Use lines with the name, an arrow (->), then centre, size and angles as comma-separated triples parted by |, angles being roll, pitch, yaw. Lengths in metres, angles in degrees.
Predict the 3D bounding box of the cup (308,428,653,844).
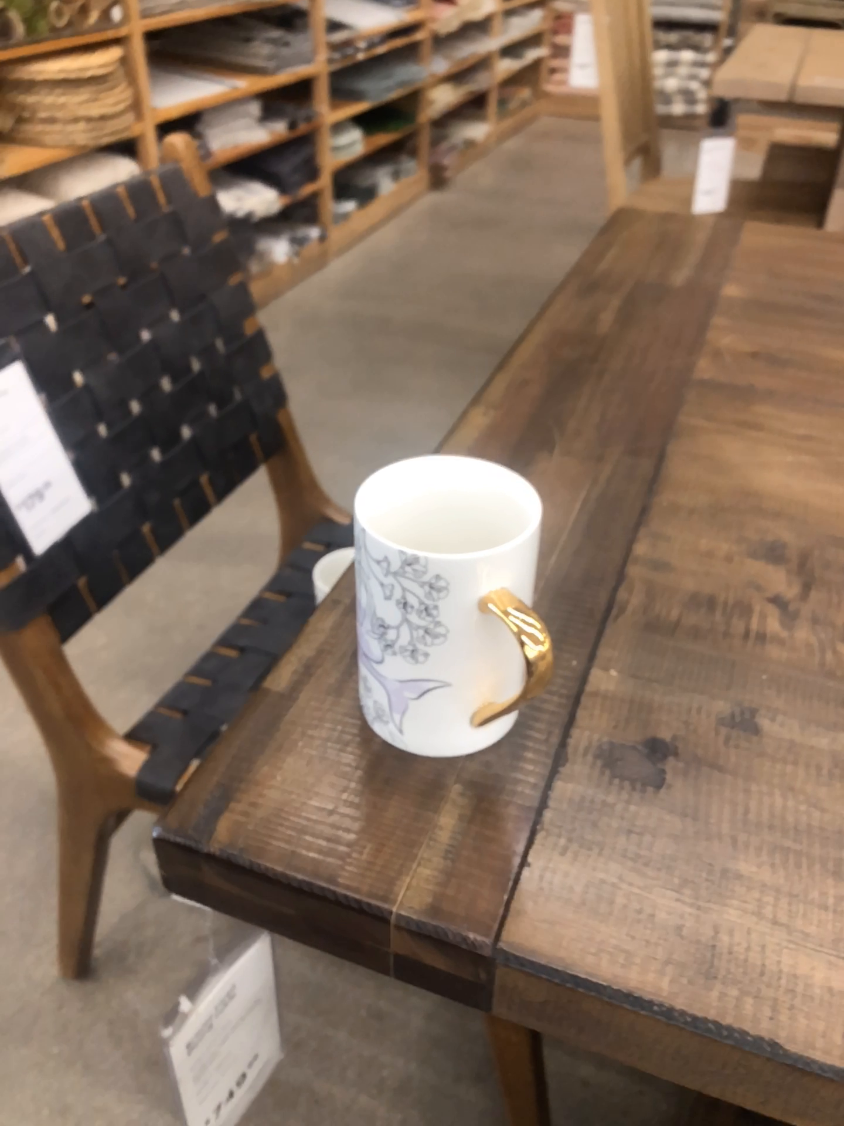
cup -> 0.018, 0.026, 0.409 | 0.082, 0.111, 0.122 | -20, 41, -27
